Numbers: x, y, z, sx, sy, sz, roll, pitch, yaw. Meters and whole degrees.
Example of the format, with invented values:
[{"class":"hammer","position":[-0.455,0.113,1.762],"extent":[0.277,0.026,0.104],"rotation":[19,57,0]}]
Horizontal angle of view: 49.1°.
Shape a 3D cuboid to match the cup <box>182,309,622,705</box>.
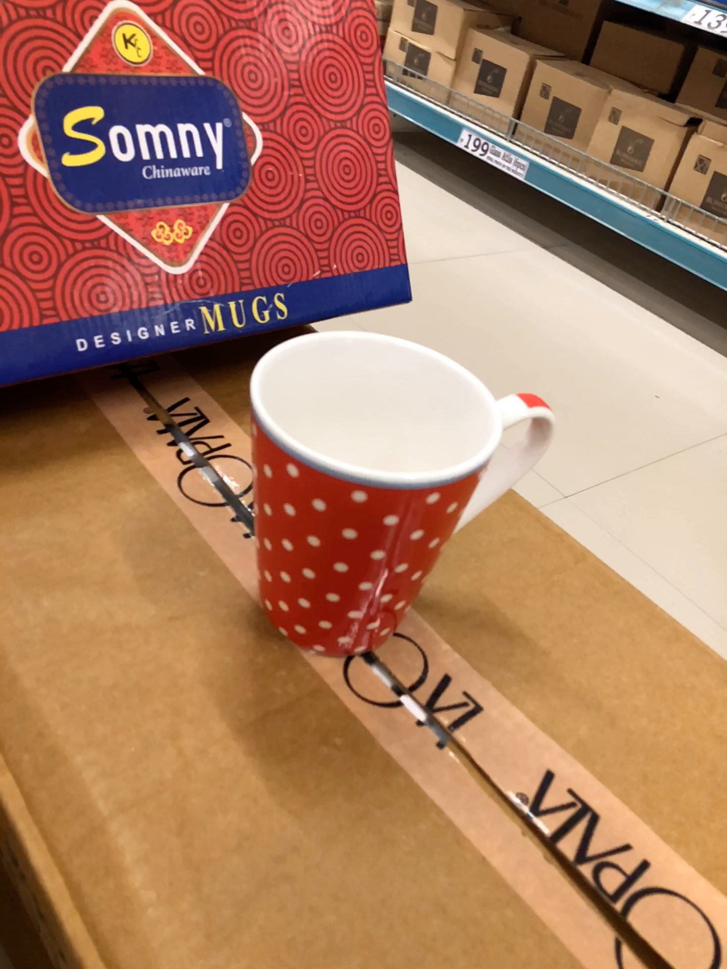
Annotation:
[{"class":"cup","position":[0.008,0.001,0.289],"extent":[0.121,0.089,0.080],"rotation":[-14,45,-31]}]
